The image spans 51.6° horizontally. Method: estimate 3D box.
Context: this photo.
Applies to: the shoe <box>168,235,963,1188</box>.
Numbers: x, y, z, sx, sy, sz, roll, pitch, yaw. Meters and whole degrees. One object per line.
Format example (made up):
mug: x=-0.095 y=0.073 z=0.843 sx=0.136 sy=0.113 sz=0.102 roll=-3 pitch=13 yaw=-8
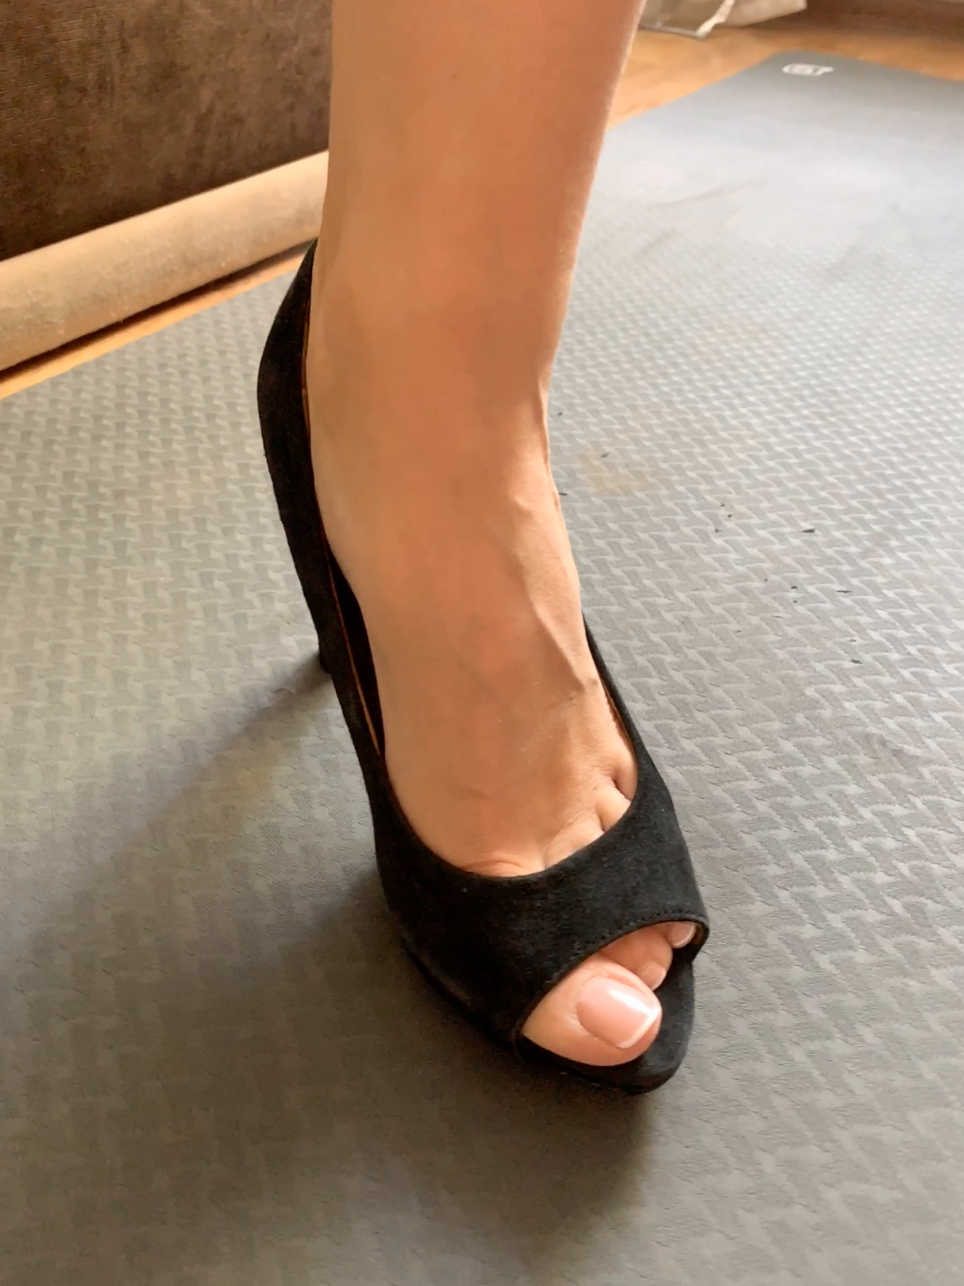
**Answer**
shoe: x=-0.002 y=-0.002 z=0.272 sx=0.090 sy=0.139 sz=0.211 roll=-17 pitch=44 yaw=-23
